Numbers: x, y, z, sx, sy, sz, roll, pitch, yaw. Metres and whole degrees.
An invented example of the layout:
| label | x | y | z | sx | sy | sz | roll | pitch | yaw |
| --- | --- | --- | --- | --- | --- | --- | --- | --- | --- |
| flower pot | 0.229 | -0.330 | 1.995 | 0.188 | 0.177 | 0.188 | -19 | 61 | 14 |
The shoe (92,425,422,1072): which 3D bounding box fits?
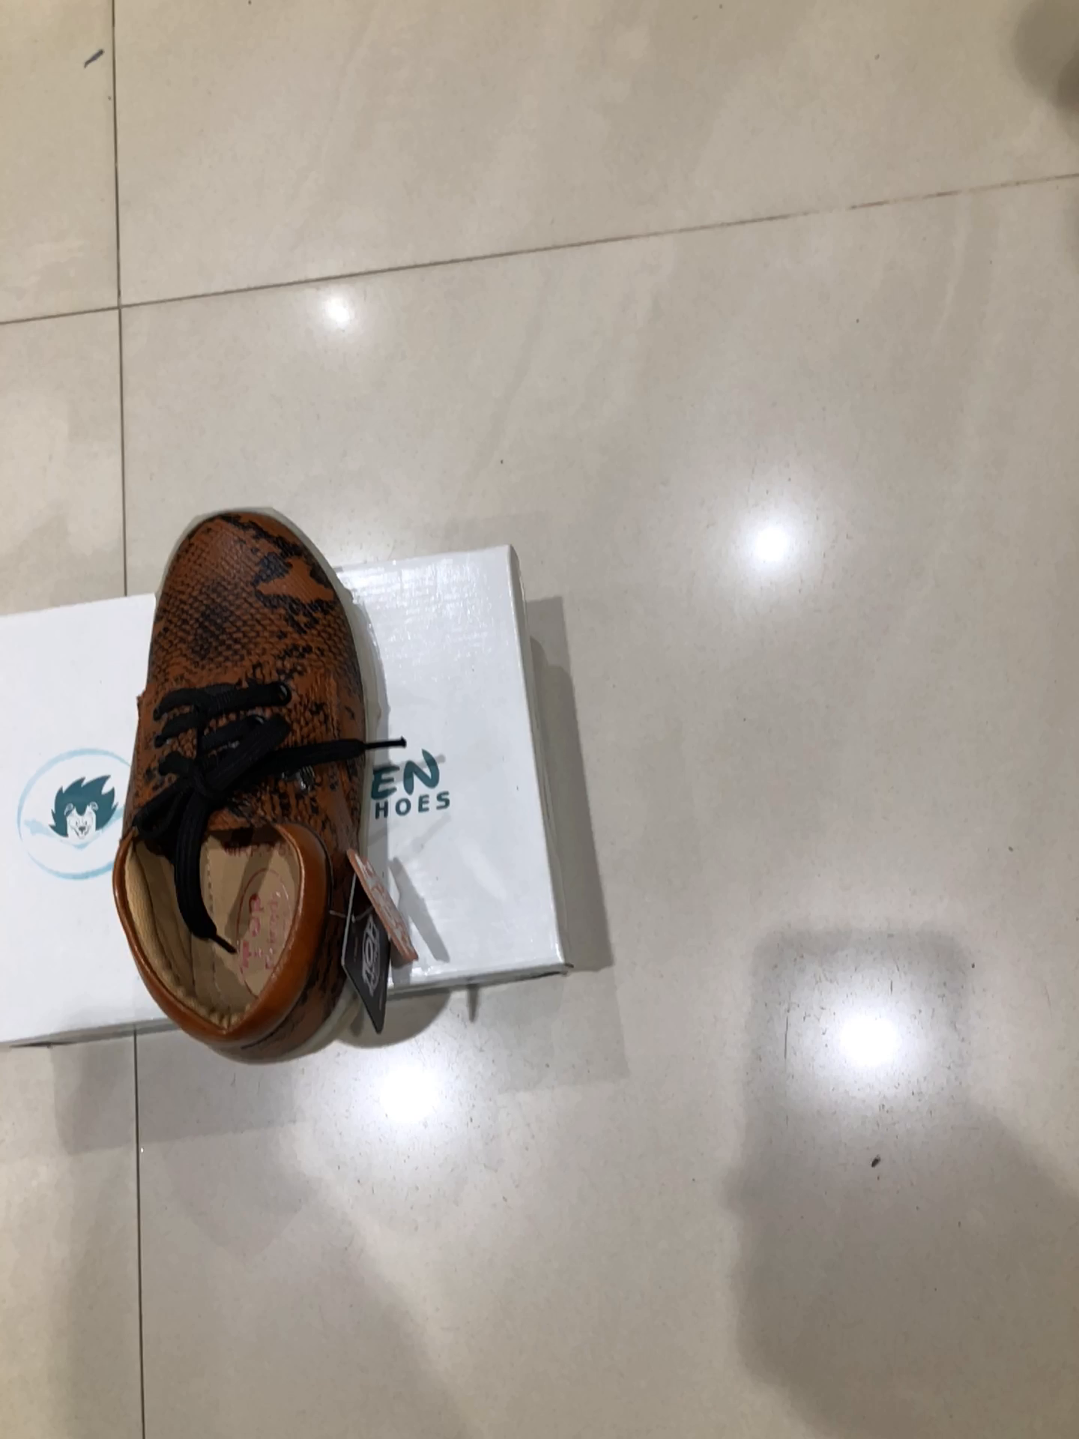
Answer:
| label | x | y | z | sx | sy | sz | roll | pitch | yaw |
| --- | --- | --- | --- | --- | --- | --- | --- | --- | --- |
| shoe | -0.097 | 0.014 | 0.417 | 0.080 | 0.090 | 0.200 | -7 | 74 | 2 |
